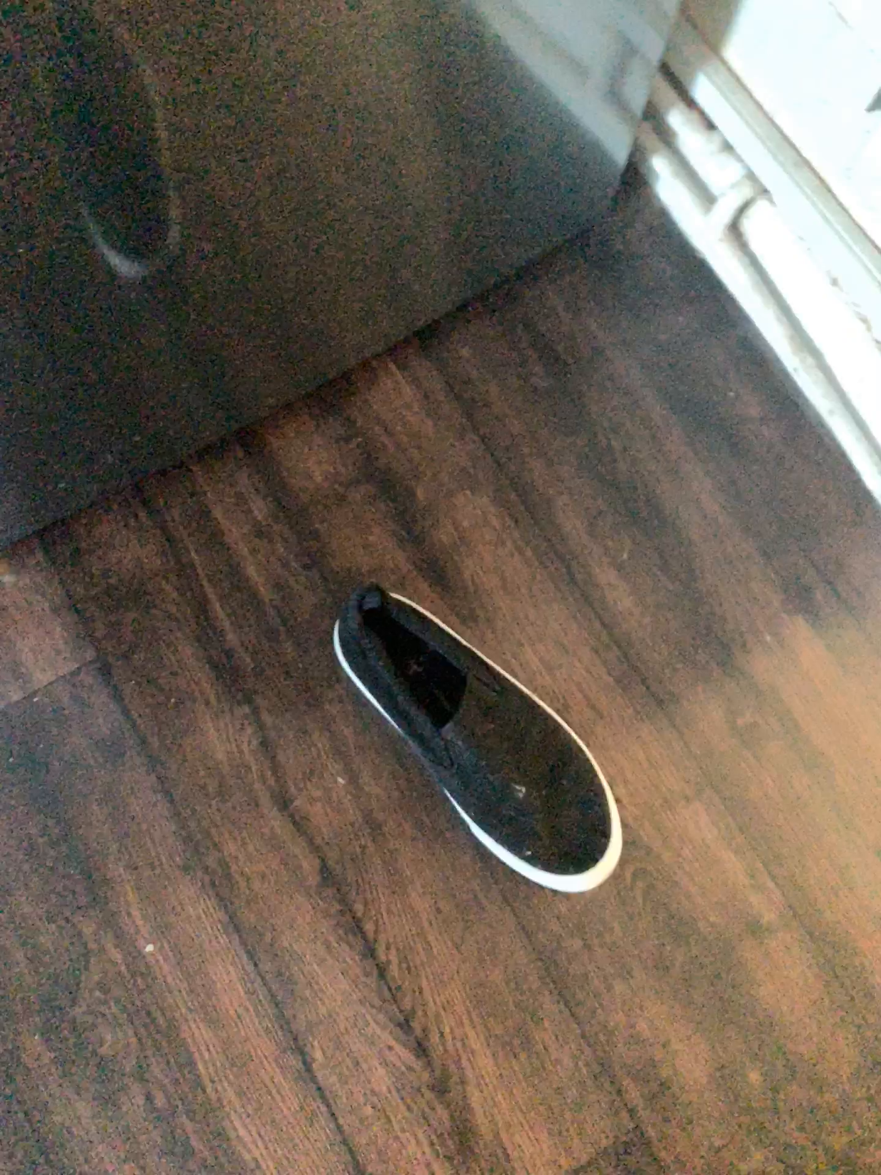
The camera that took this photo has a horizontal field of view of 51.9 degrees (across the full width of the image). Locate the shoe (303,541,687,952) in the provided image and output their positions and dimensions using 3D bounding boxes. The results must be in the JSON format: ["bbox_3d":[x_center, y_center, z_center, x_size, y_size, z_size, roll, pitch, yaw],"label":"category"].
[{"bbox_3d":[0.029,0.099,0.586,0.100,0.080,0.238,-39,80,-12],"label":"shoe"}]
